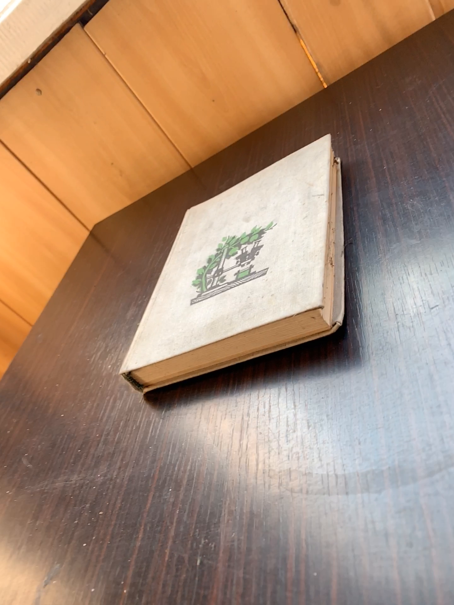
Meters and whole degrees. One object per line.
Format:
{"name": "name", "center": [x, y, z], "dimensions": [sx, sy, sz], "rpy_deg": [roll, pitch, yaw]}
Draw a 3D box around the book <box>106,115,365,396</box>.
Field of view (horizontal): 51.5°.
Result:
{"name": "book", "center": [0.011, -0.035, 0.289], "dimensions": [0.136, 0.027, 0.170], "rpy_deg": [-22, 35, 30]}
